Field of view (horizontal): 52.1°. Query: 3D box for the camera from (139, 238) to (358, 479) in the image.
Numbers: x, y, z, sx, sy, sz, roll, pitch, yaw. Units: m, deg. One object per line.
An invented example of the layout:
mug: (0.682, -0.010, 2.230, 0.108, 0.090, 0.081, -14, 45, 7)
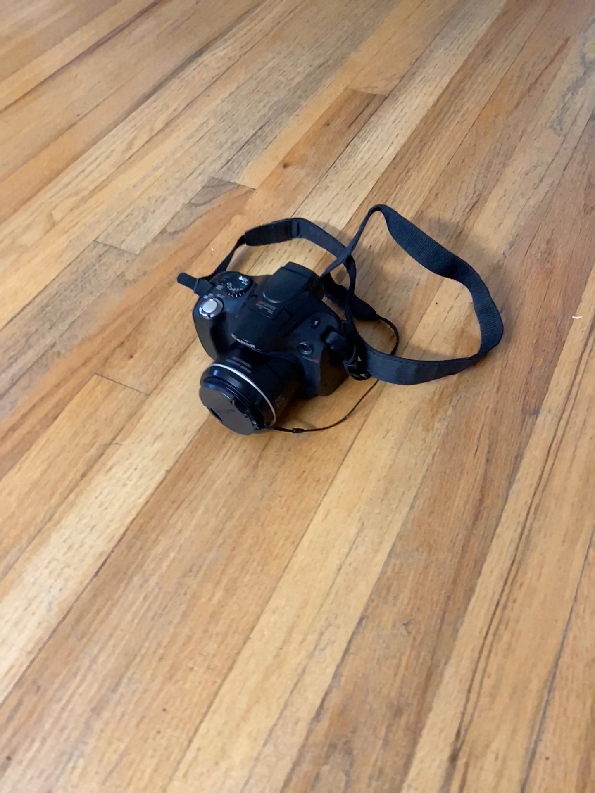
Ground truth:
camera: (-0.029, -0.031, 0.482, 0.110, 0.110, 0.120, 23, 60, 21)
